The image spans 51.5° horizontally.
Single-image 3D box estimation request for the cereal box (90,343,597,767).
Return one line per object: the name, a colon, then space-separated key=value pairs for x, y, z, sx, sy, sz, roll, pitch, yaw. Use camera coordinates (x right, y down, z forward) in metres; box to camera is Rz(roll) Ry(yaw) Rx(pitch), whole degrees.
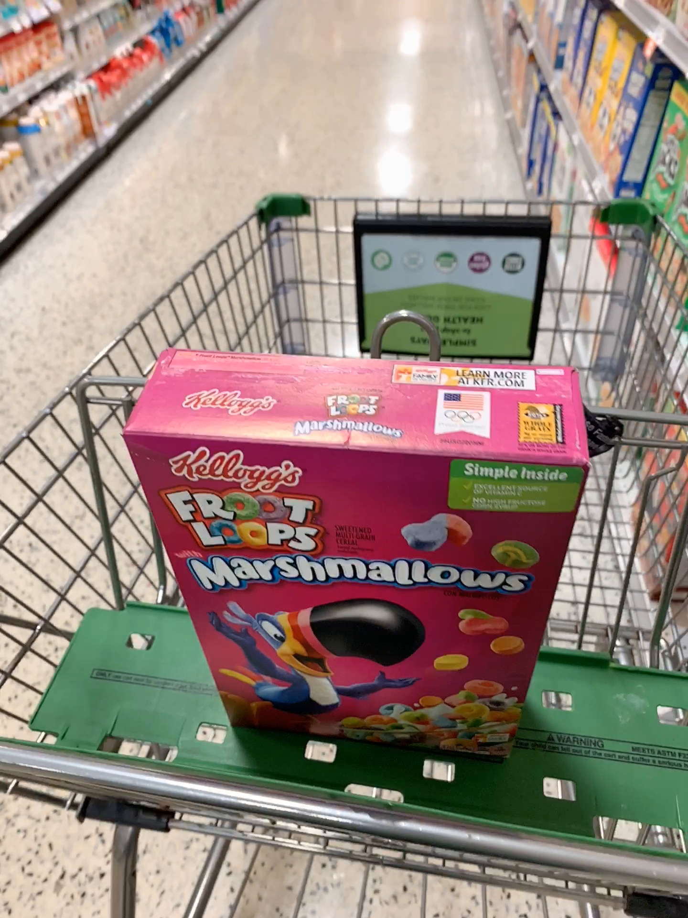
cereal box: x=0.007 y=0.074 z=0.401 sx=0.200 sy=0.287 sz=0.061 roll=4 pitch=46 yaw=8
